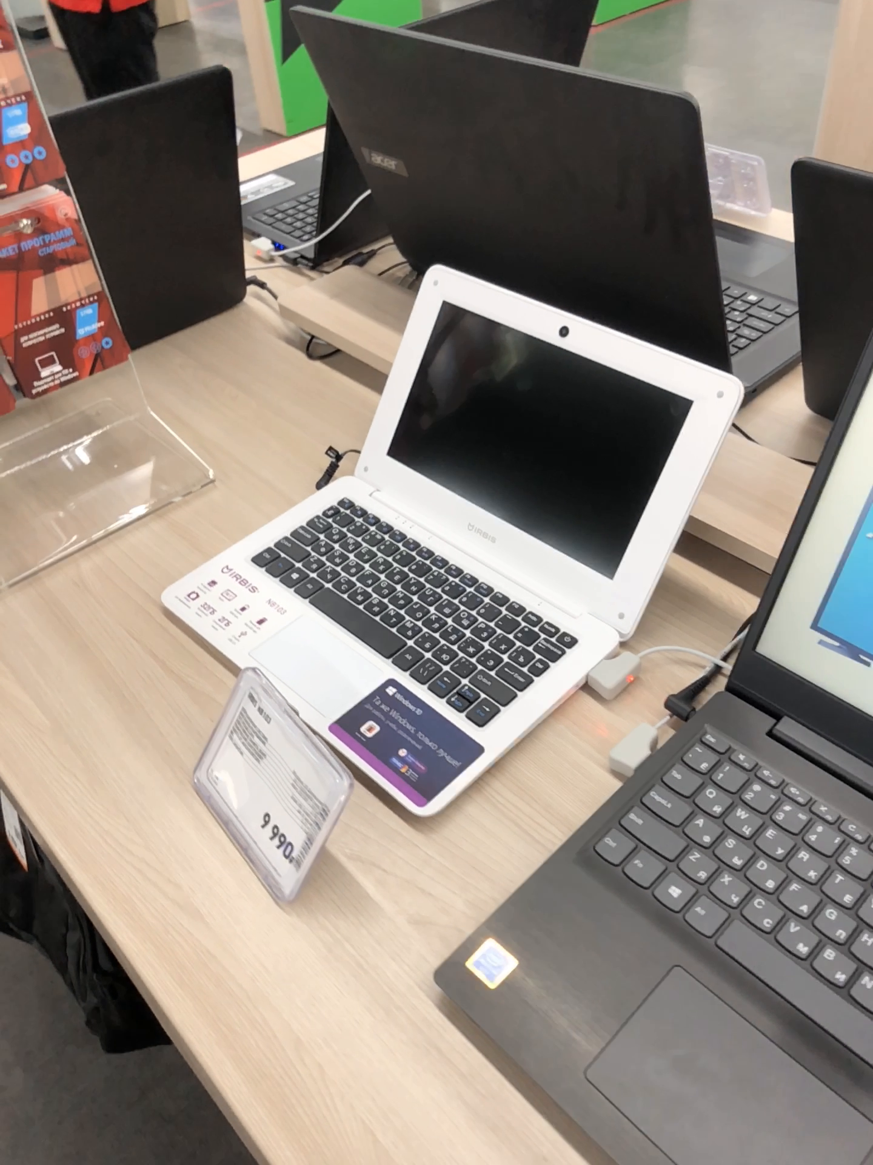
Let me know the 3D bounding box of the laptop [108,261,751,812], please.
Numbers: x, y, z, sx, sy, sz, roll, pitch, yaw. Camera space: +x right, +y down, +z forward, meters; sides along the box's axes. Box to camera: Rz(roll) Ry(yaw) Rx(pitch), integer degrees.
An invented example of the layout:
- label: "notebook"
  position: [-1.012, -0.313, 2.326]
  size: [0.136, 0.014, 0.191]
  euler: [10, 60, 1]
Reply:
- label: "laptop"
  position: [-0.004, -0.065, 0.692]
  size: [0.318, 0.144, 0.297]
  euler: [-36, 50, -27]
